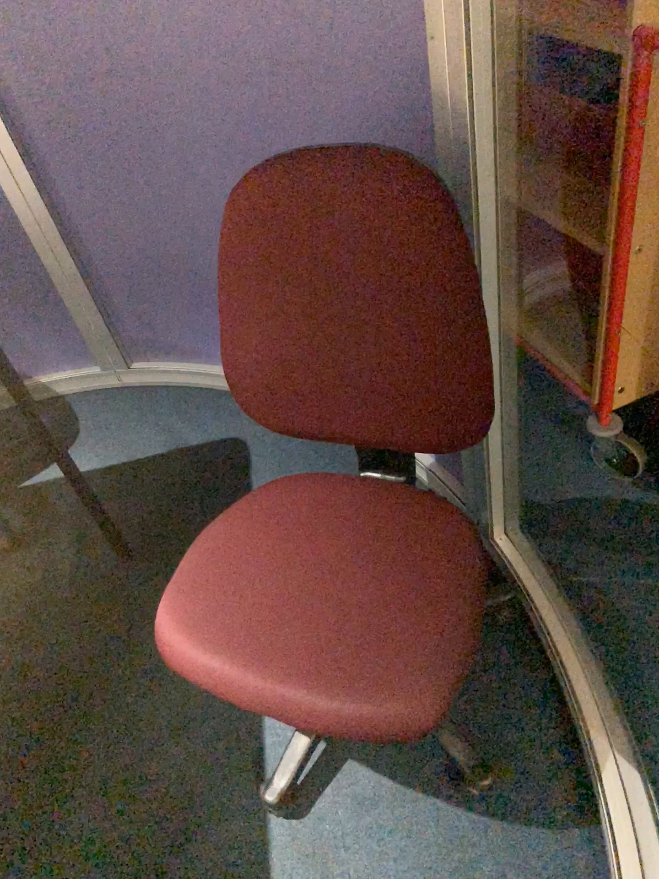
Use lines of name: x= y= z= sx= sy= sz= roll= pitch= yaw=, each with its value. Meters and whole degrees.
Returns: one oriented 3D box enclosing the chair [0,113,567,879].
chair: x=0.023 y=0.052 z=1.098 sx=0.581 sy=0.772 sz=0.857 roll=6 pitch=46 yaw=22
